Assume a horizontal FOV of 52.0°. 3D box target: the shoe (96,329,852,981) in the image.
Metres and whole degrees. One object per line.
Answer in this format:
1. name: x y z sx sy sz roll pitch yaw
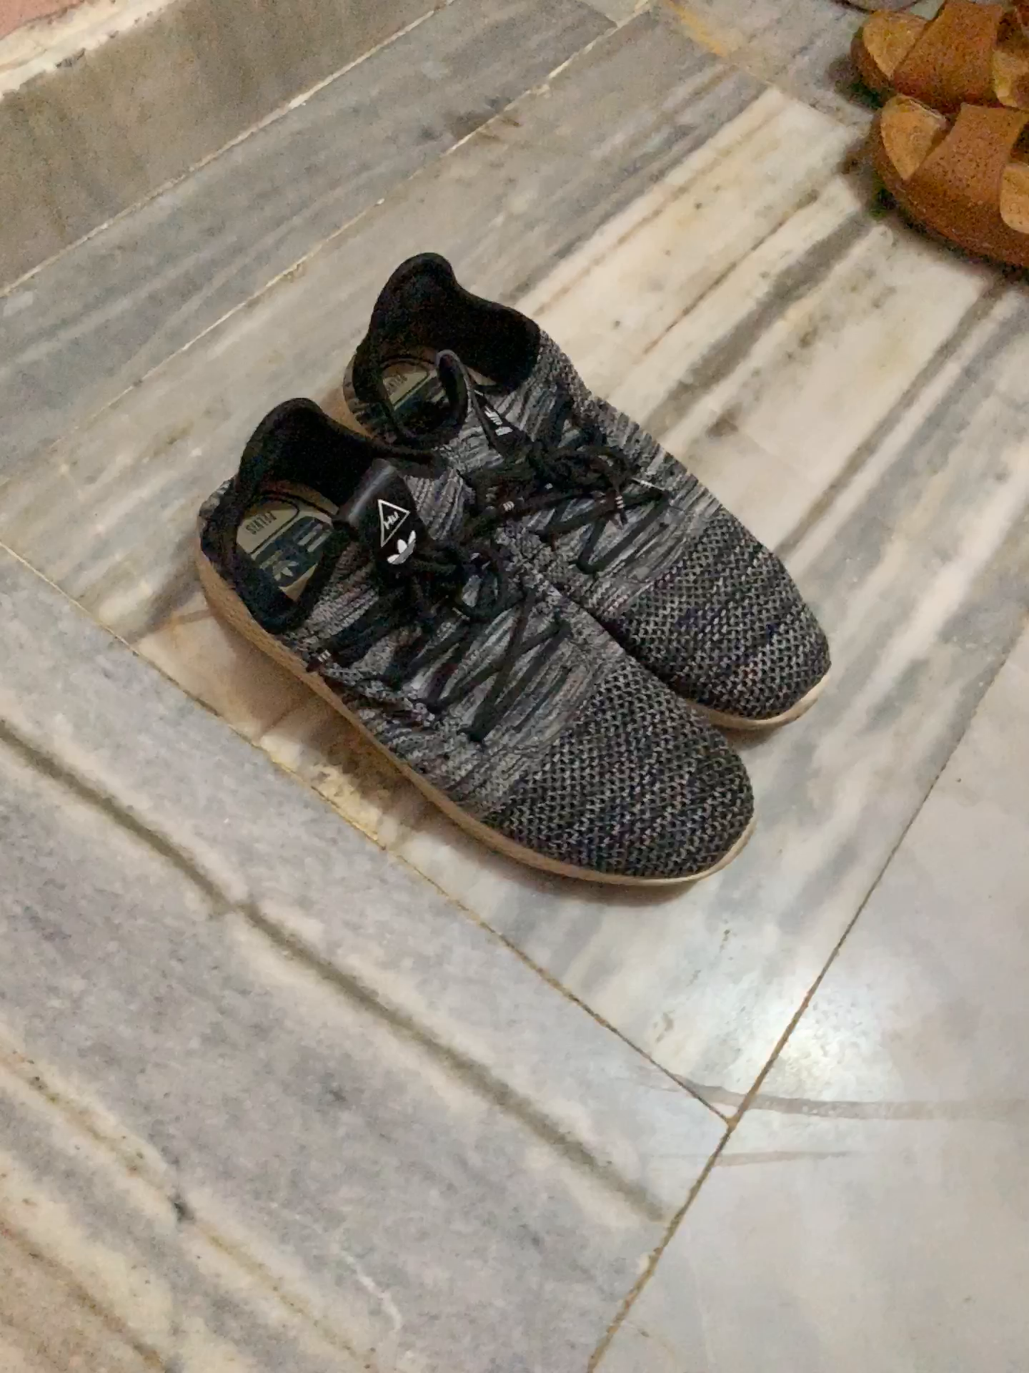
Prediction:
1. shoe: -0.022 -0.020 0.468 0.300 0.080 0.120 36 64 11

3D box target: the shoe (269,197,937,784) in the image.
1. shoe: 0.033 -0.103 0.520 0.300 0.080 0.120 39 64 13
